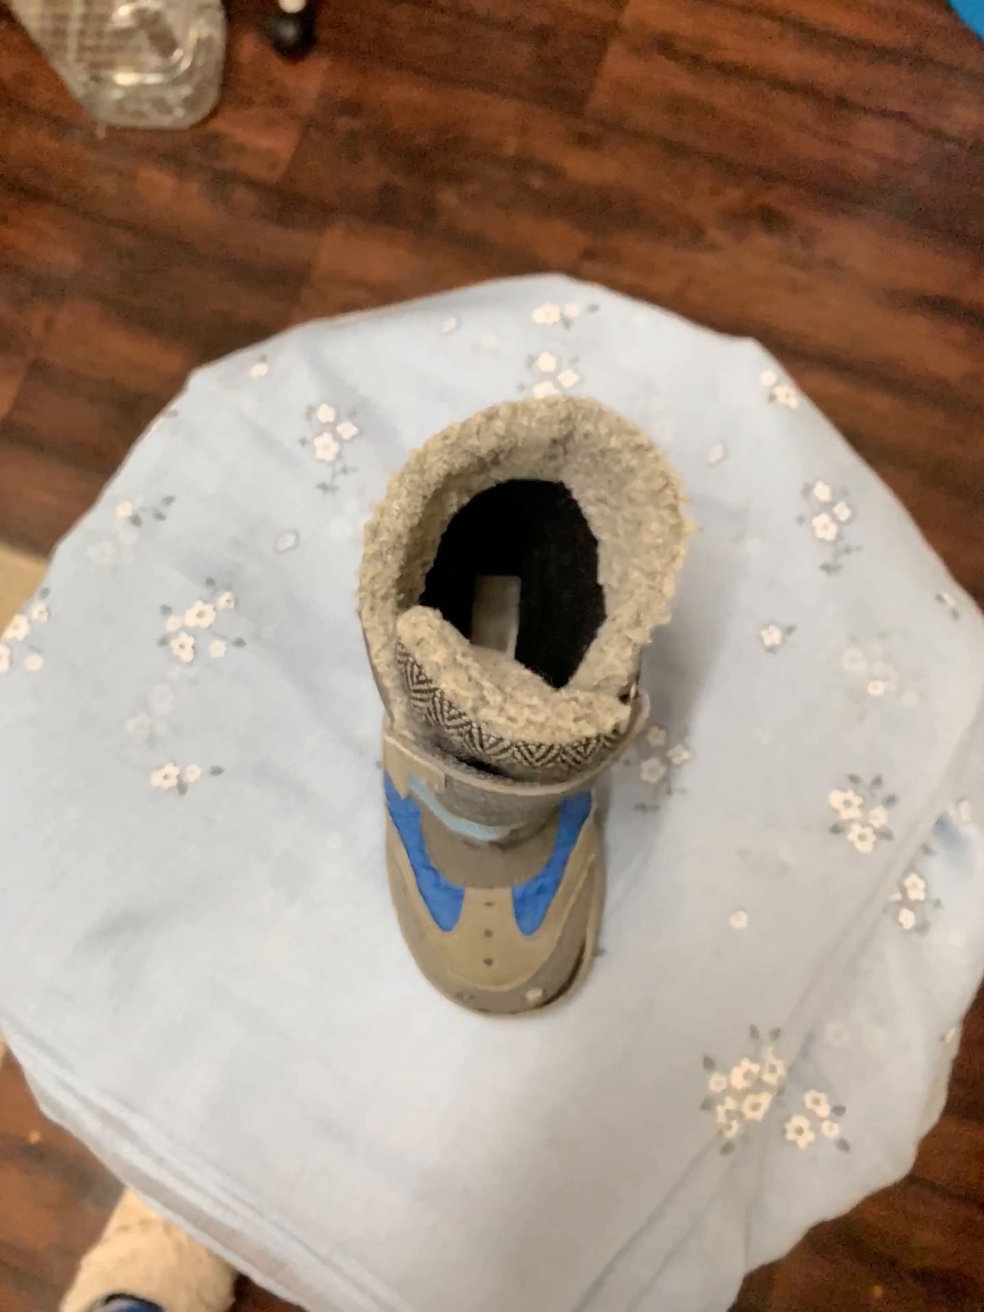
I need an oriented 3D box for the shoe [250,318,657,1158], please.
[{"bbox_3d":[-0.003,0.025,0.327,0.090,0.160,0.200,2,80,3],"label":"shoe"}]
